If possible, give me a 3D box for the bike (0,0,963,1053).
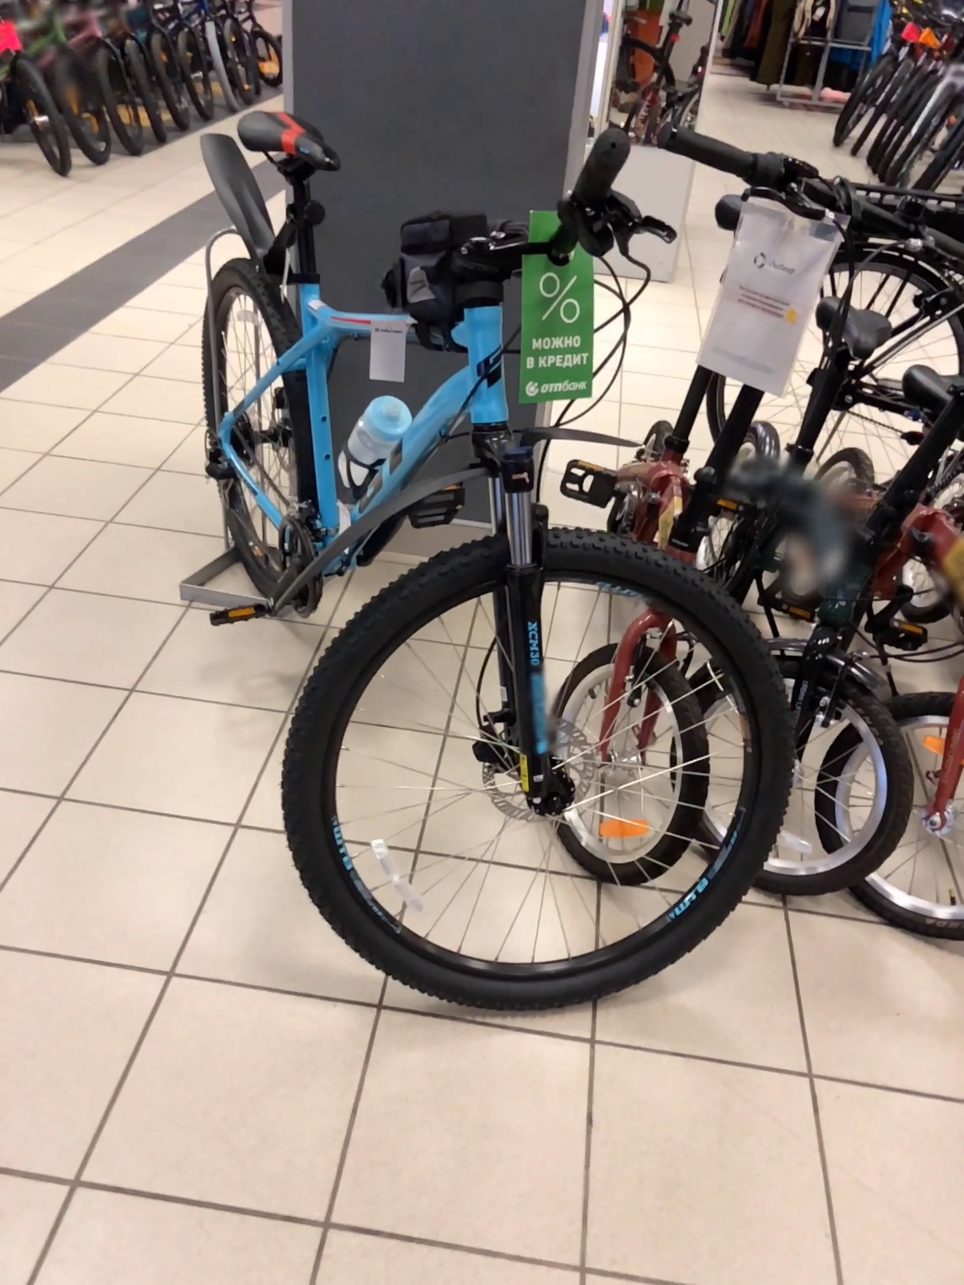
[{"bbox_3d":[-0.103,-0.365,1.809,0.693,1.084,1.615,-21,43,-35],"label":"bike"}]
